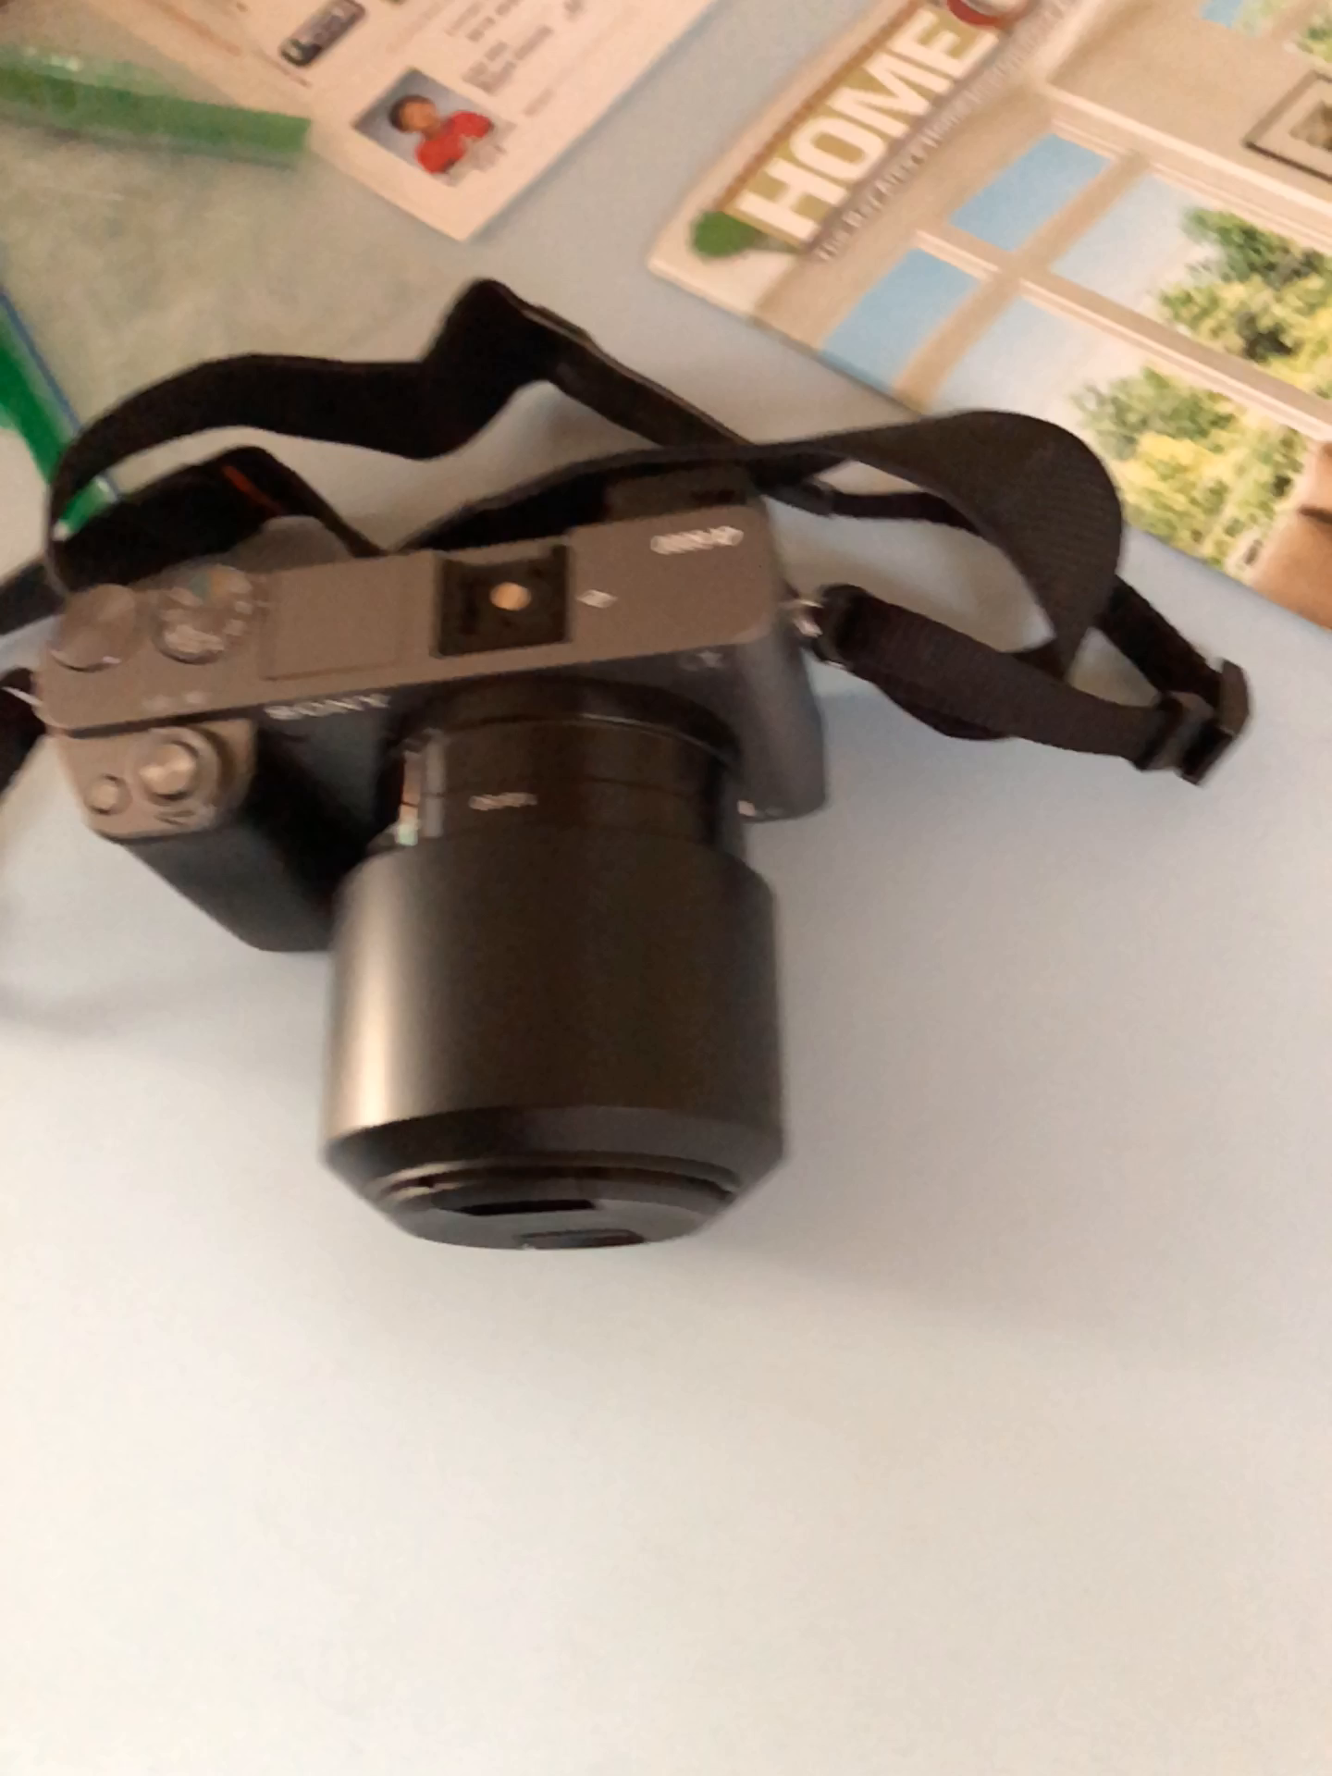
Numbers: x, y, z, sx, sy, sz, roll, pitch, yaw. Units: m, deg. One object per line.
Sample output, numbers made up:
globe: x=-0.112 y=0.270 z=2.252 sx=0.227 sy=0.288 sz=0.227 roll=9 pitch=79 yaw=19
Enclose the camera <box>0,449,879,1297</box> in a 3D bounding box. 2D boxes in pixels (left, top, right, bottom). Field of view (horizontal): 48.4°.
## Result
camera: x=-0.037 y=0.005 z=0.242 sx=0.130 sy=0.070 sz=0.110 roll=-5 pitch=68 yaw=11
